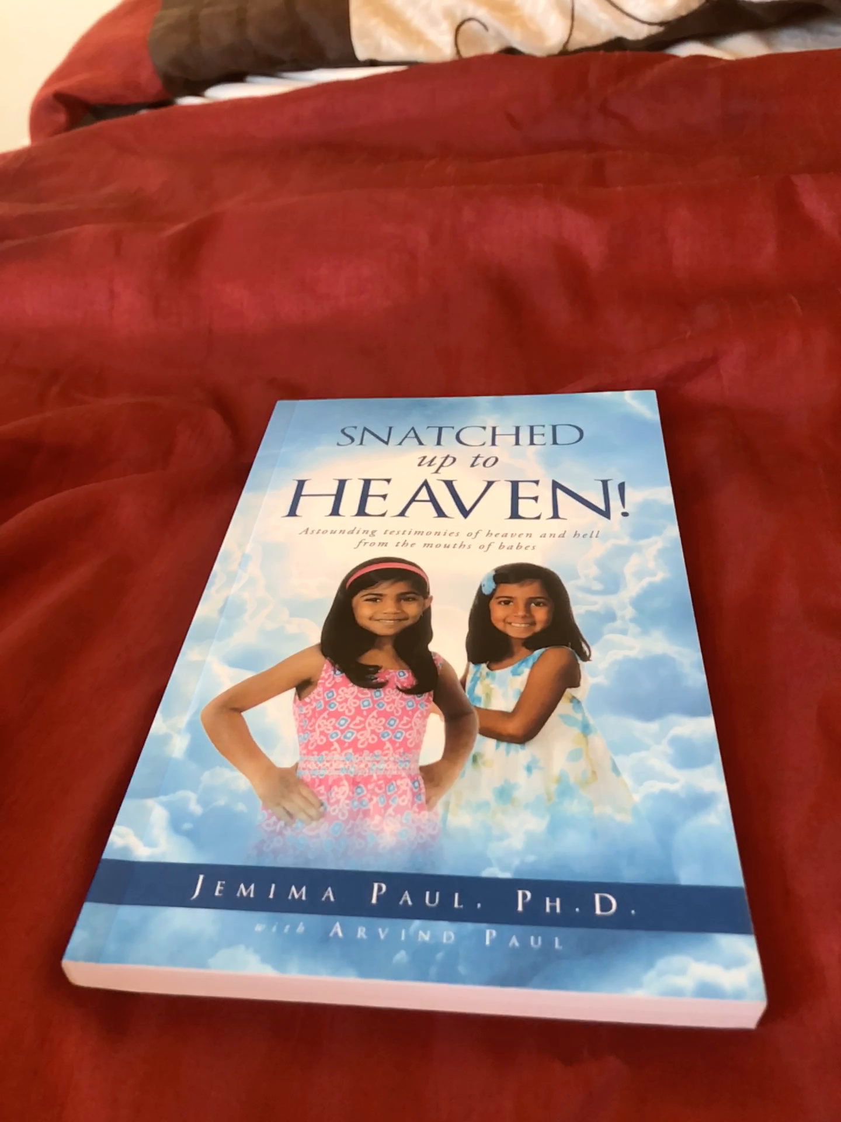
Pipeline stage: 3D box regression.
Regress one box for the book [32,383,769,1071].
[{"bbox_3d":[0.004,0.018,0.259,0.140,0.020,0.213,0,42,8],"label":"book"}]
